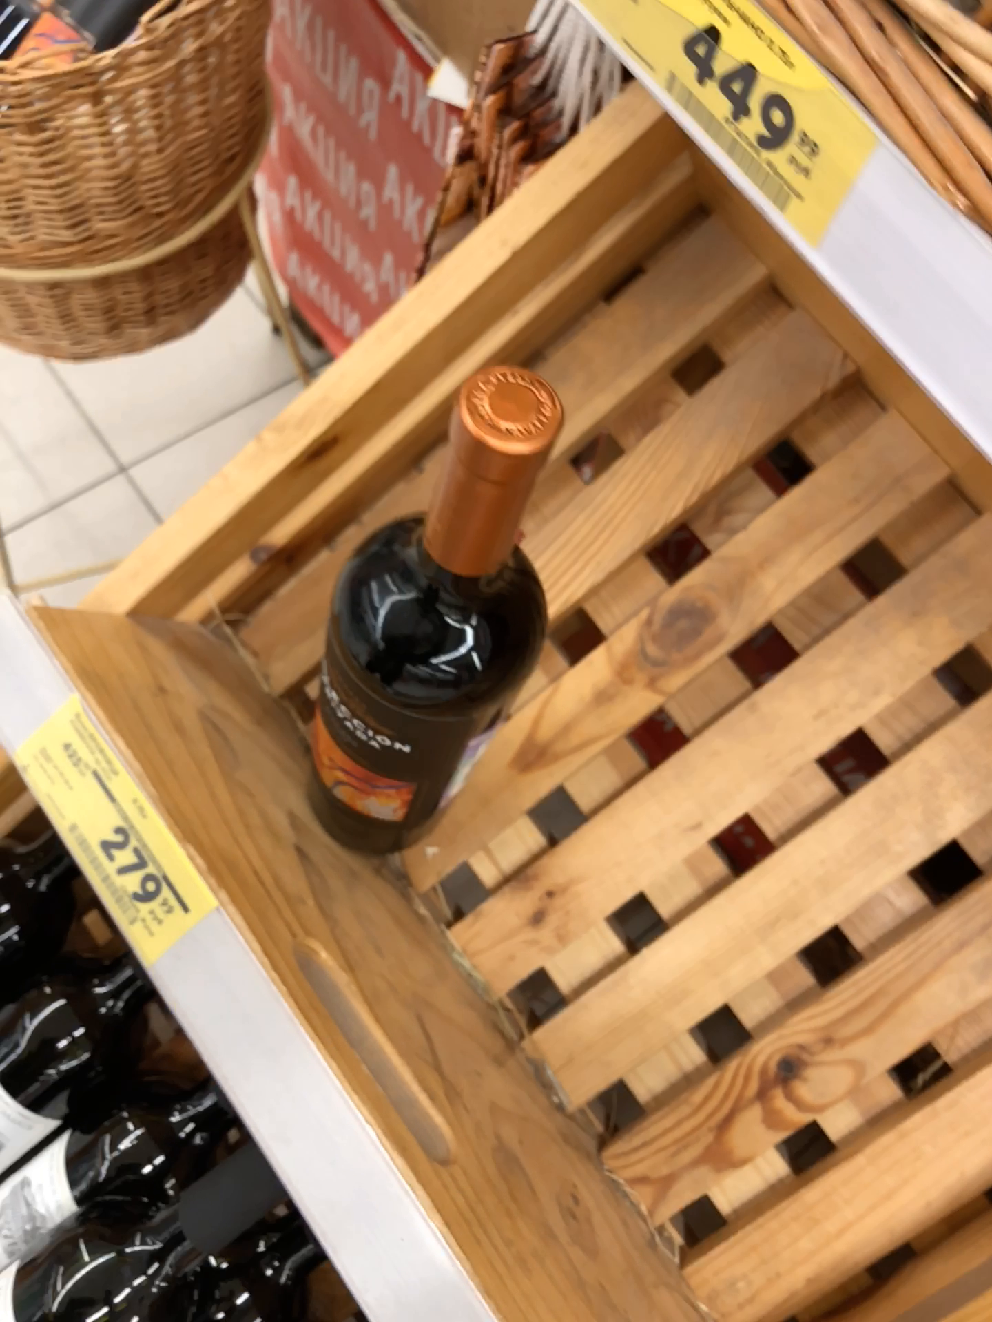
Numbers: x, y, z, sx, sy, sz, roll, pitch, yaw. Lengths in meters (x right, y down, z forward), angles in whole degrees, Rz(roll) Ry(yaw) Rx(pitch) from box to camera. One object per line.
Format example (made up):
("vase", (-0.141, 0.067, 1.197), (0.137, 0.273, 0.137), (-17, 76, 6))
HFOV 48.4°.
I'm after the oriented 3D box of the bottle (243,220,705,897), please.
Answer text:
("bottle", (-0.033, -0.009, 0.410), (0.080, 0.289, 0.086), (6, 62, -11))
